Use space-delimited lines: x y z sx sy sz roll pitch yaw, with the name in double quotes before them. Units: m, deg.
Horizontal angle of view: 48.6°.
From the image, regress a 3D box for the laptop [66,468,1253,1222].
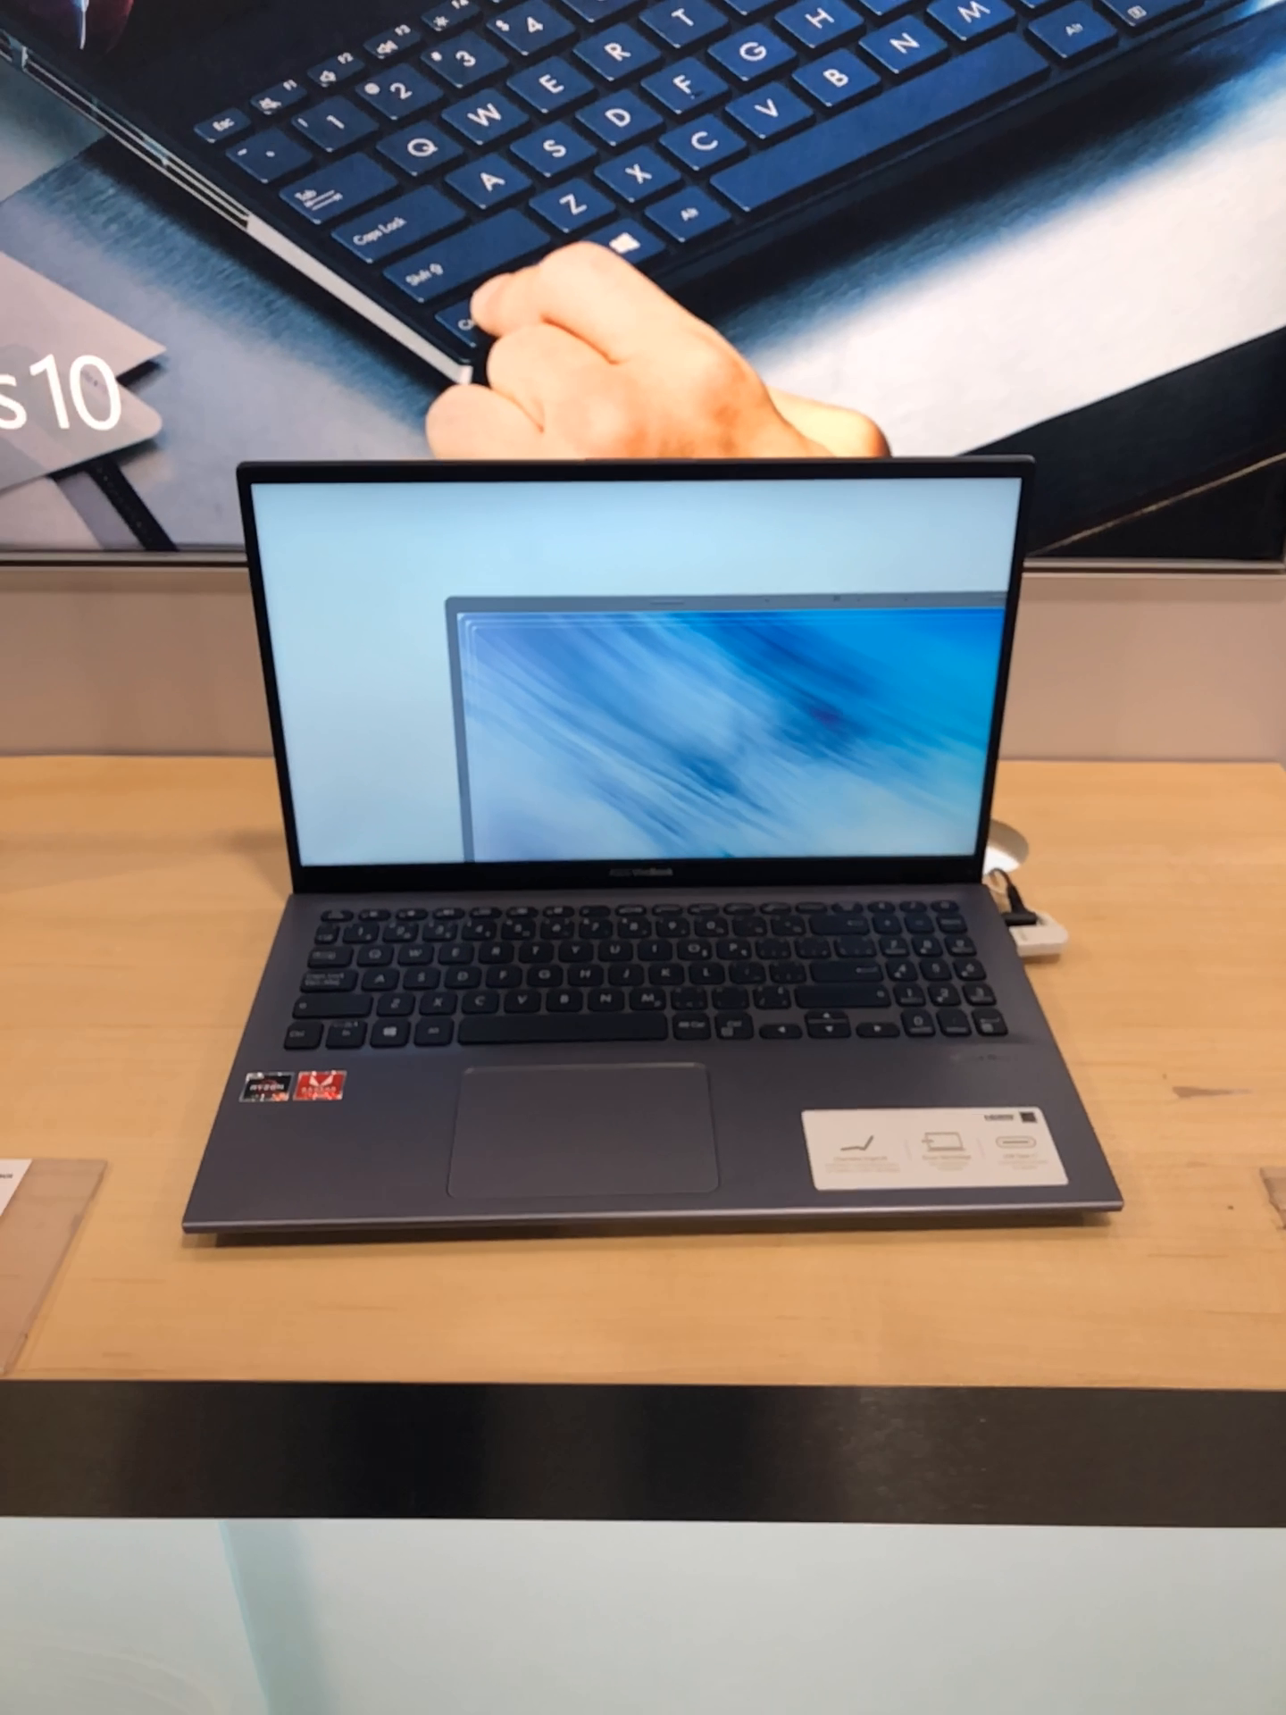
"laptop" 0.002 -0.019 0.577 0.349 0.211 0.243 -1 31 -1
